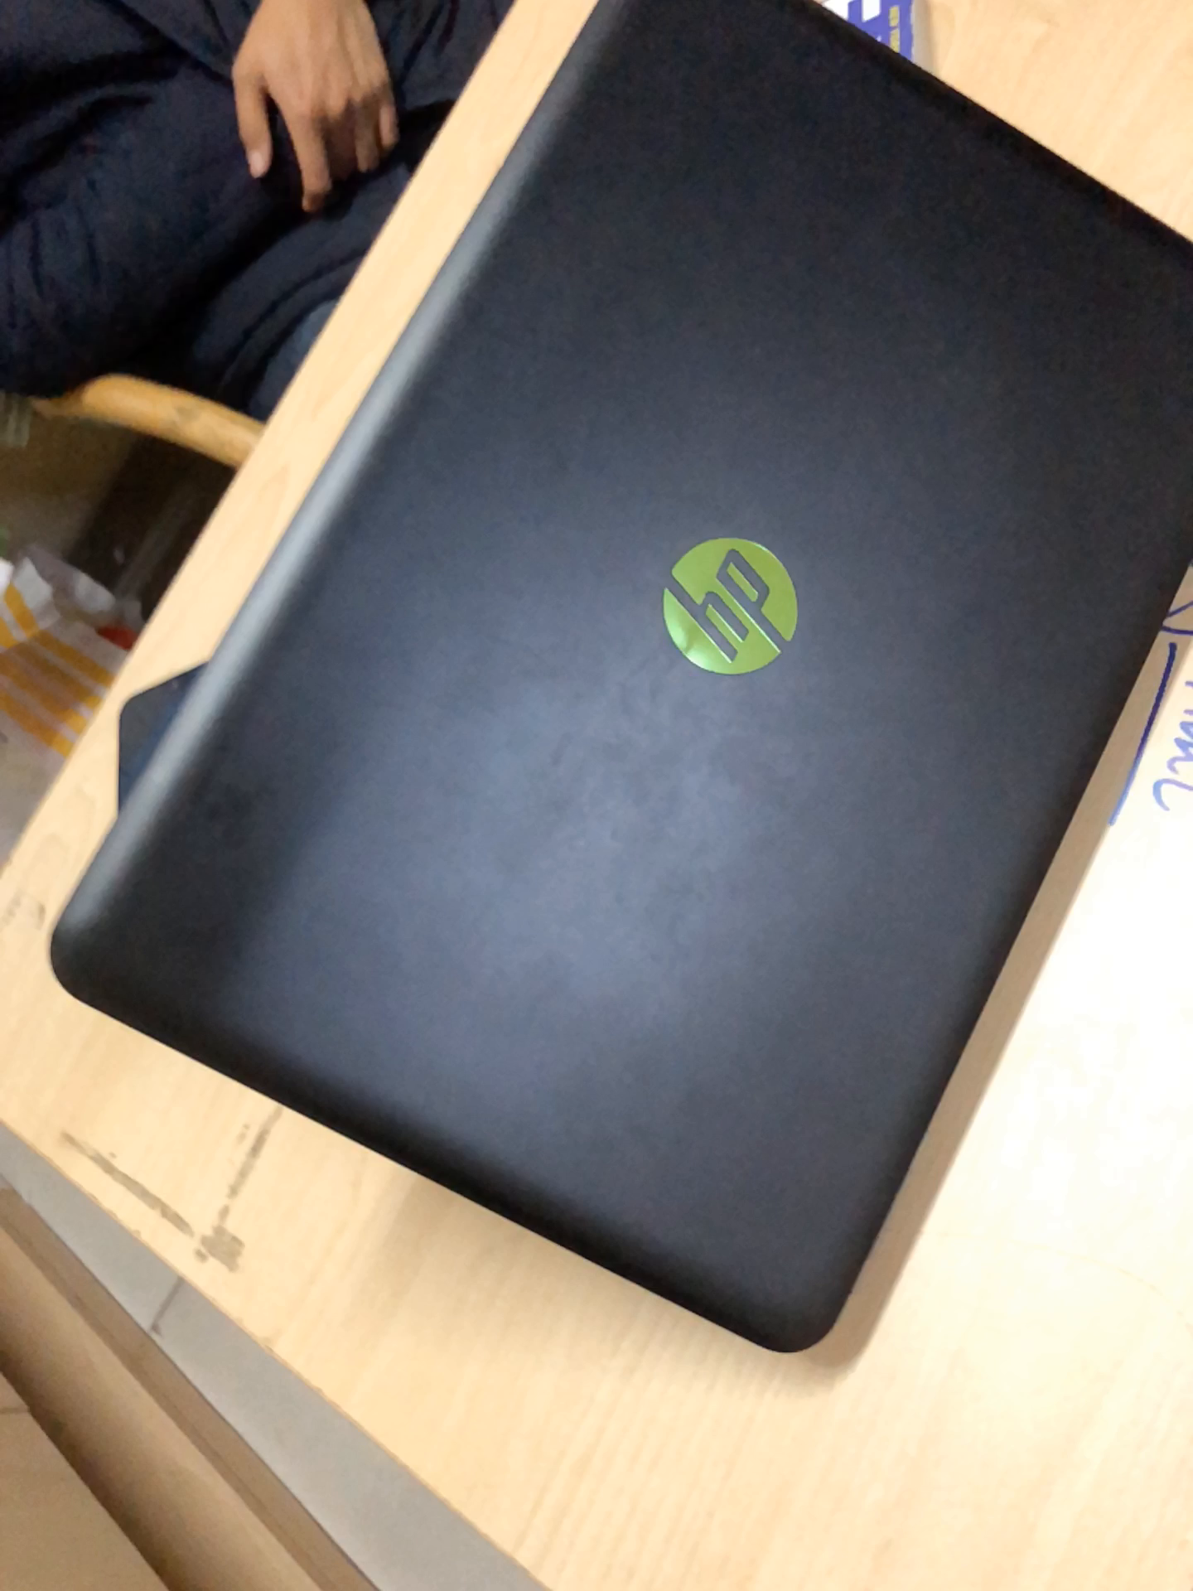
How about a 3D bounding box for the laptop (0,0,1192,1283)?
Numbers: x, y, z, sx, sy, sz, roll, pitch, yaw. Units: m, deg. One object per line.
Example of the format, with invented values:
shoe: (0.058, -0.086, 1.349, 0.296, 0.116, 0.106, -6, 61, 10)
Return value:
laptop: (0.027, -0.074, 0.425, 0.231, 0.167, 0.359, 22, 79, 35)
